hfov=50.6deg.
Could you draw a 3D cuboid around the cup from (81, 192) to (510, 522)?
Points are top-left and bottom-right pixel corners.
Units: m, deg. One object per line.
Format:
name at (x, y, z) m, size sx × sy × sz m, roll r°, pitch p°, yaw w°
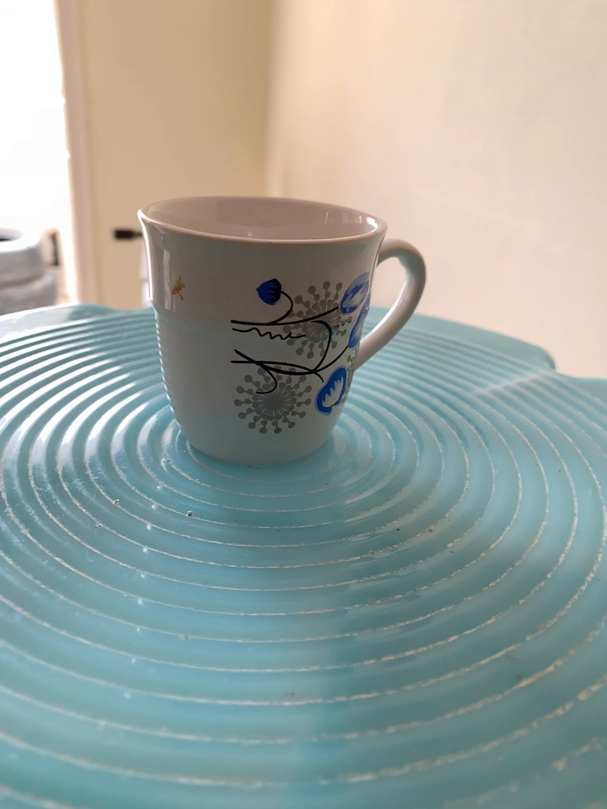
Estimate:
cup at (-0.003, -0.024, 0.182) m, size 0.090 × 0.060 × 0.070 m, roll -15°, pitch 31°, yaw -36°
